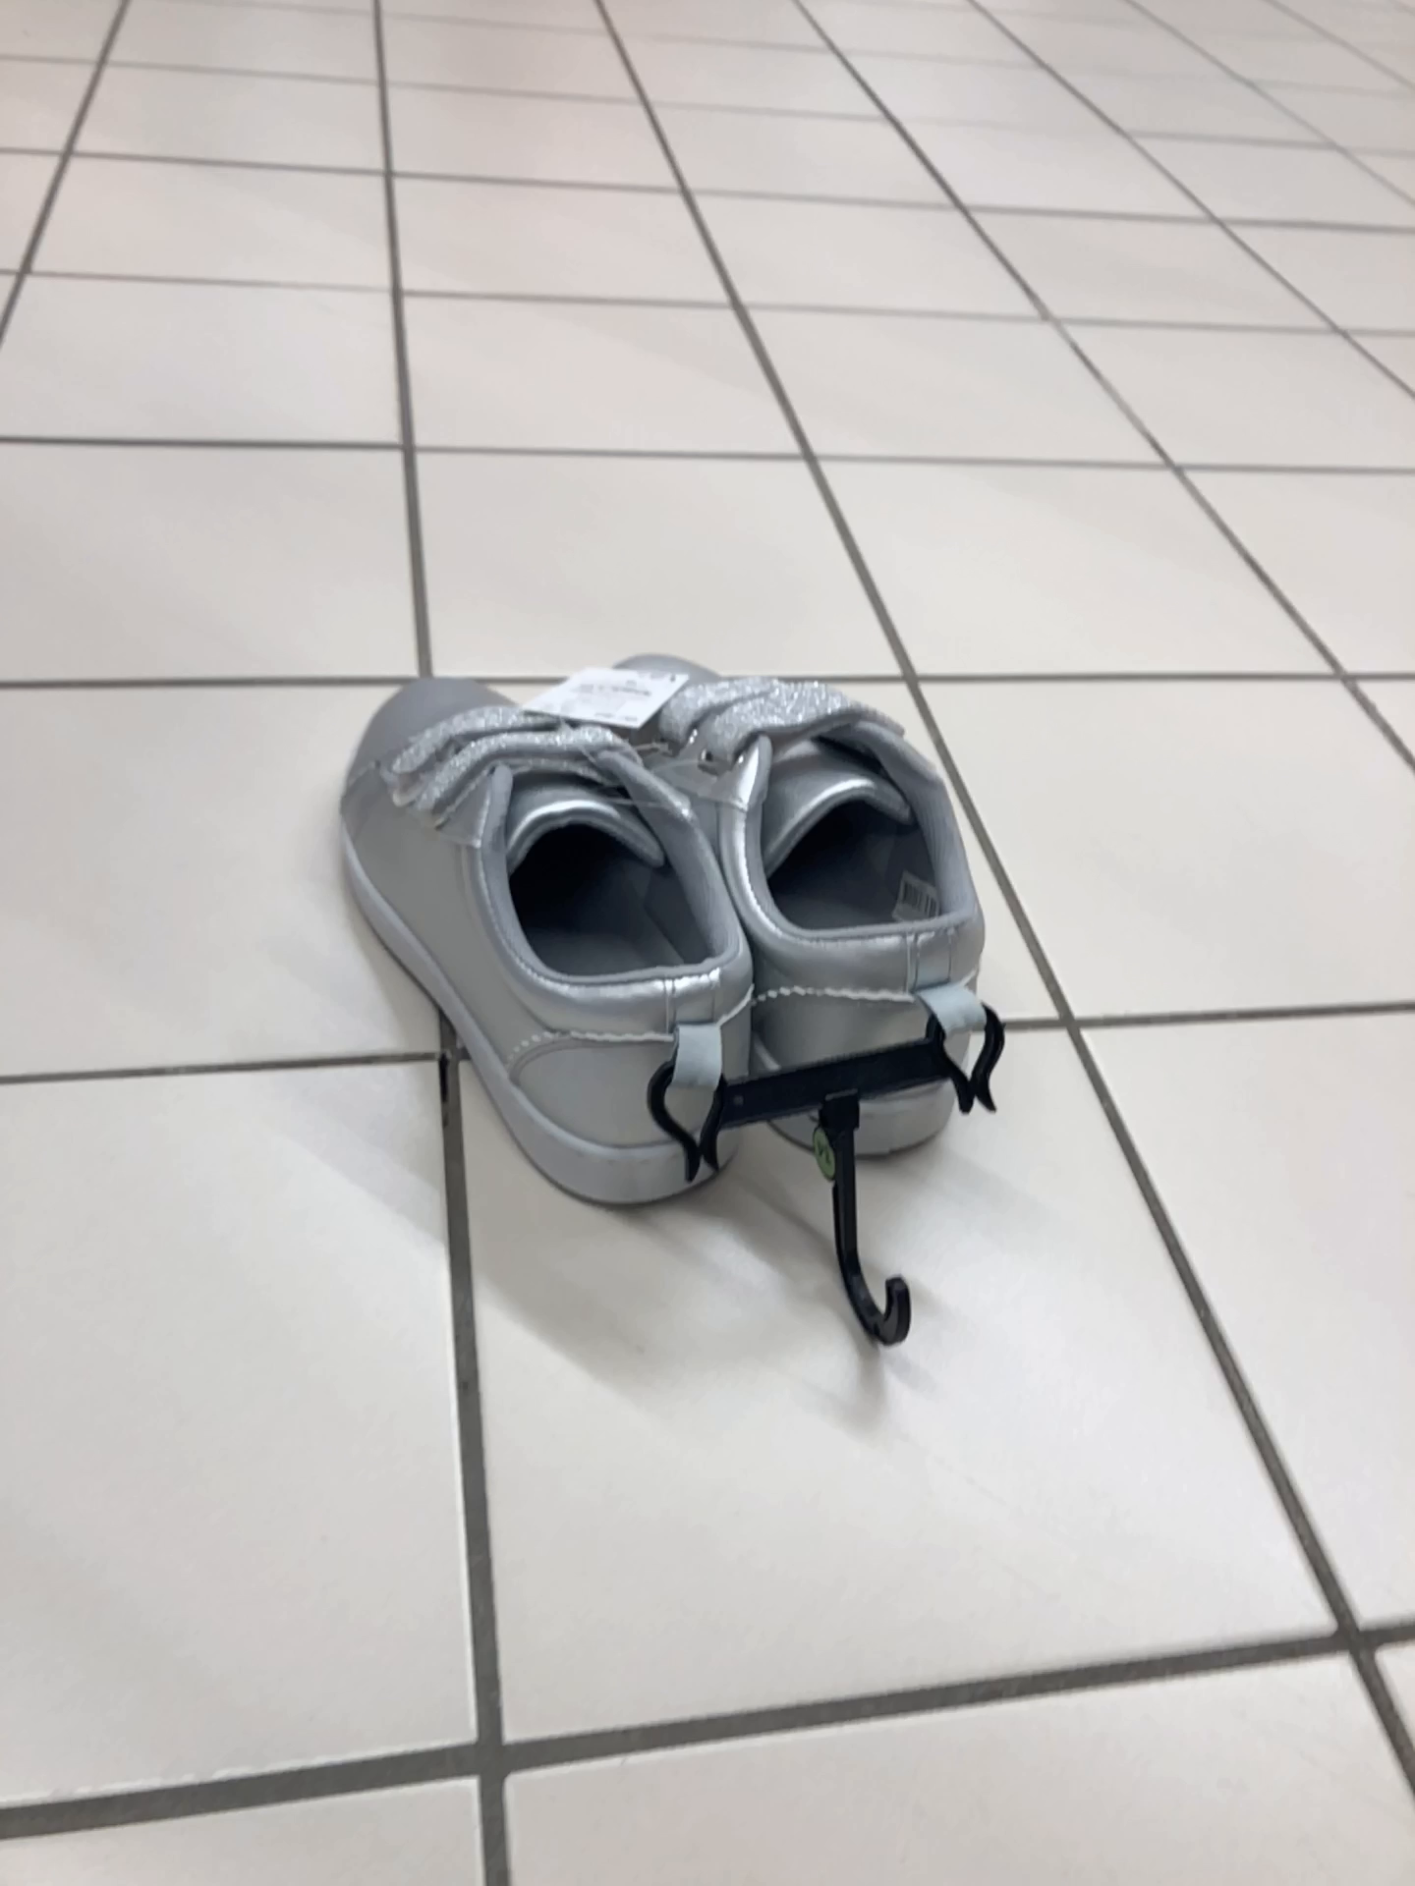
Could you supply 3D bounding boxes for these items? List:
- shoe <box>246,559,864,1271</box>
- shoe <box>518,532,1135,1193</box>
[{"bbox_3d":[-0.057,-0.021,0.481,0.091,0.085,0.215,-18,48,-26],"label":"shoe"},{"bbox_3d":[0.024,-0.038,0.508,0.091,0.085,0.215,-16,47,-24],"label":"shoe"}]
